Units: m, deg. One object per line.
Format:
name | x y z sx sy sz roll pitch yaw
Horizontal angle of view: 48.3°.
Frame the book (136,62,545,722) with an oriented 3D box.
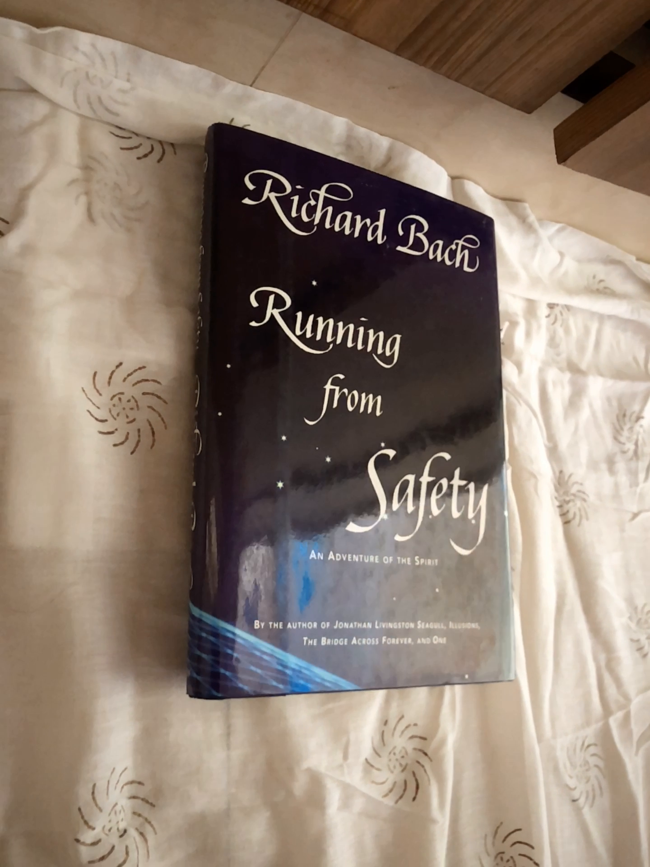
book | 0.016 -0.012 0.321 0.171 0.040 0.250 13 69 -34
